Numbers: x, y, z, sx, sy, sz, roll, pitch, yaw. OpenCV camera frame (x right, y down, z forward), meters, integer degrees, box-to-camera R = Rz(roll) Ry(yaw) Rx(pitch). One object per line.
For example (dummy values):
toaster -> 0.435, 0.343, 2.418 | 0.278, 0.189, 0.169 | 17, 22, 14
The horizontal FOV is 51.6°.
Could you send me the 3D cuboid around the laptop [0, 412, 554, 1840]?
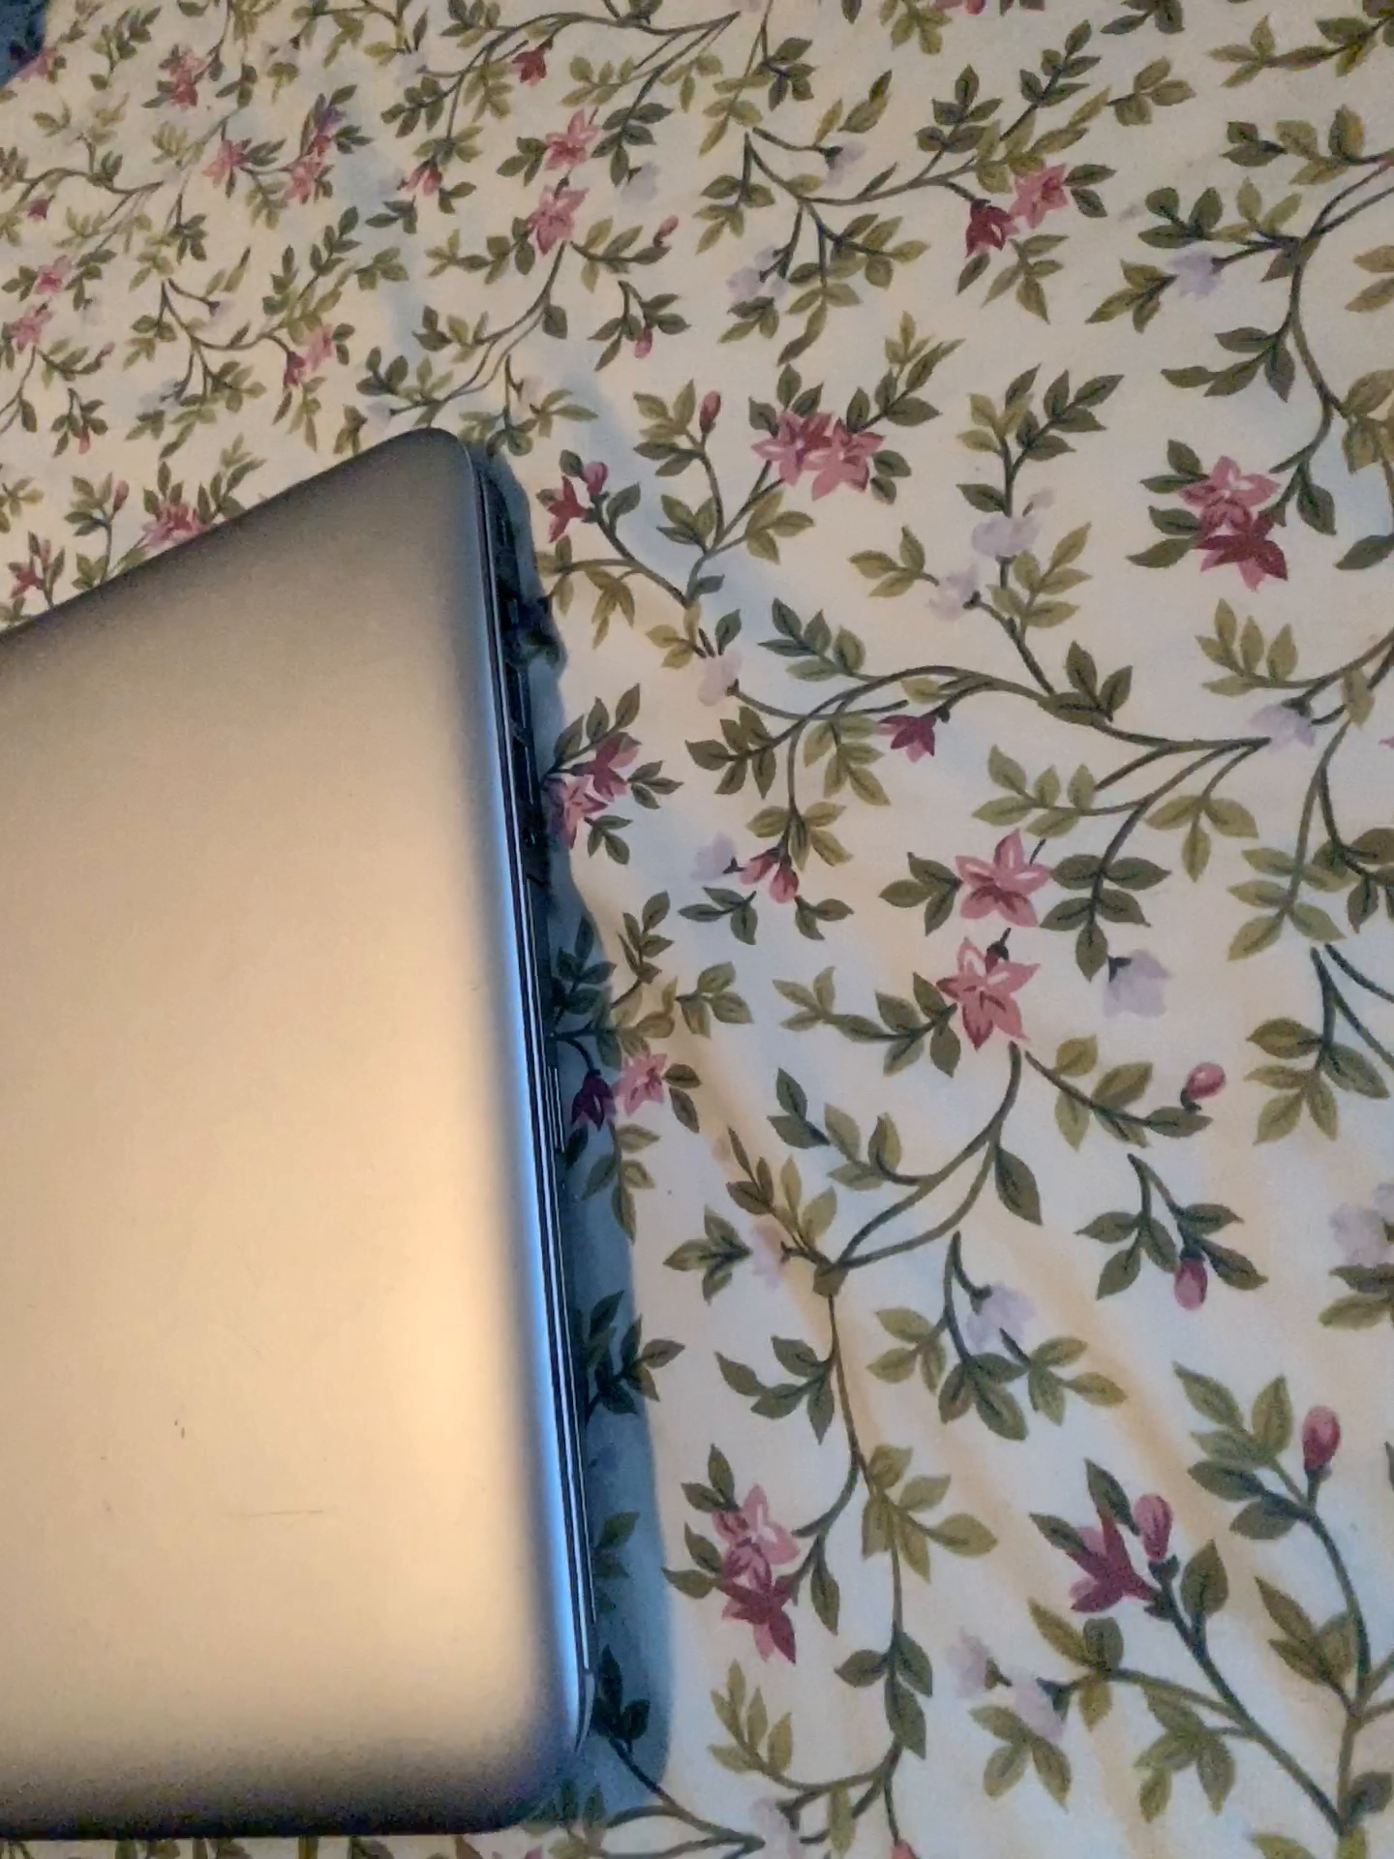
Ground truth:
laptop -> -0.184, 0.054, 0.301 | 0.337, 0.010, 0.229 | -17, 67, 23
